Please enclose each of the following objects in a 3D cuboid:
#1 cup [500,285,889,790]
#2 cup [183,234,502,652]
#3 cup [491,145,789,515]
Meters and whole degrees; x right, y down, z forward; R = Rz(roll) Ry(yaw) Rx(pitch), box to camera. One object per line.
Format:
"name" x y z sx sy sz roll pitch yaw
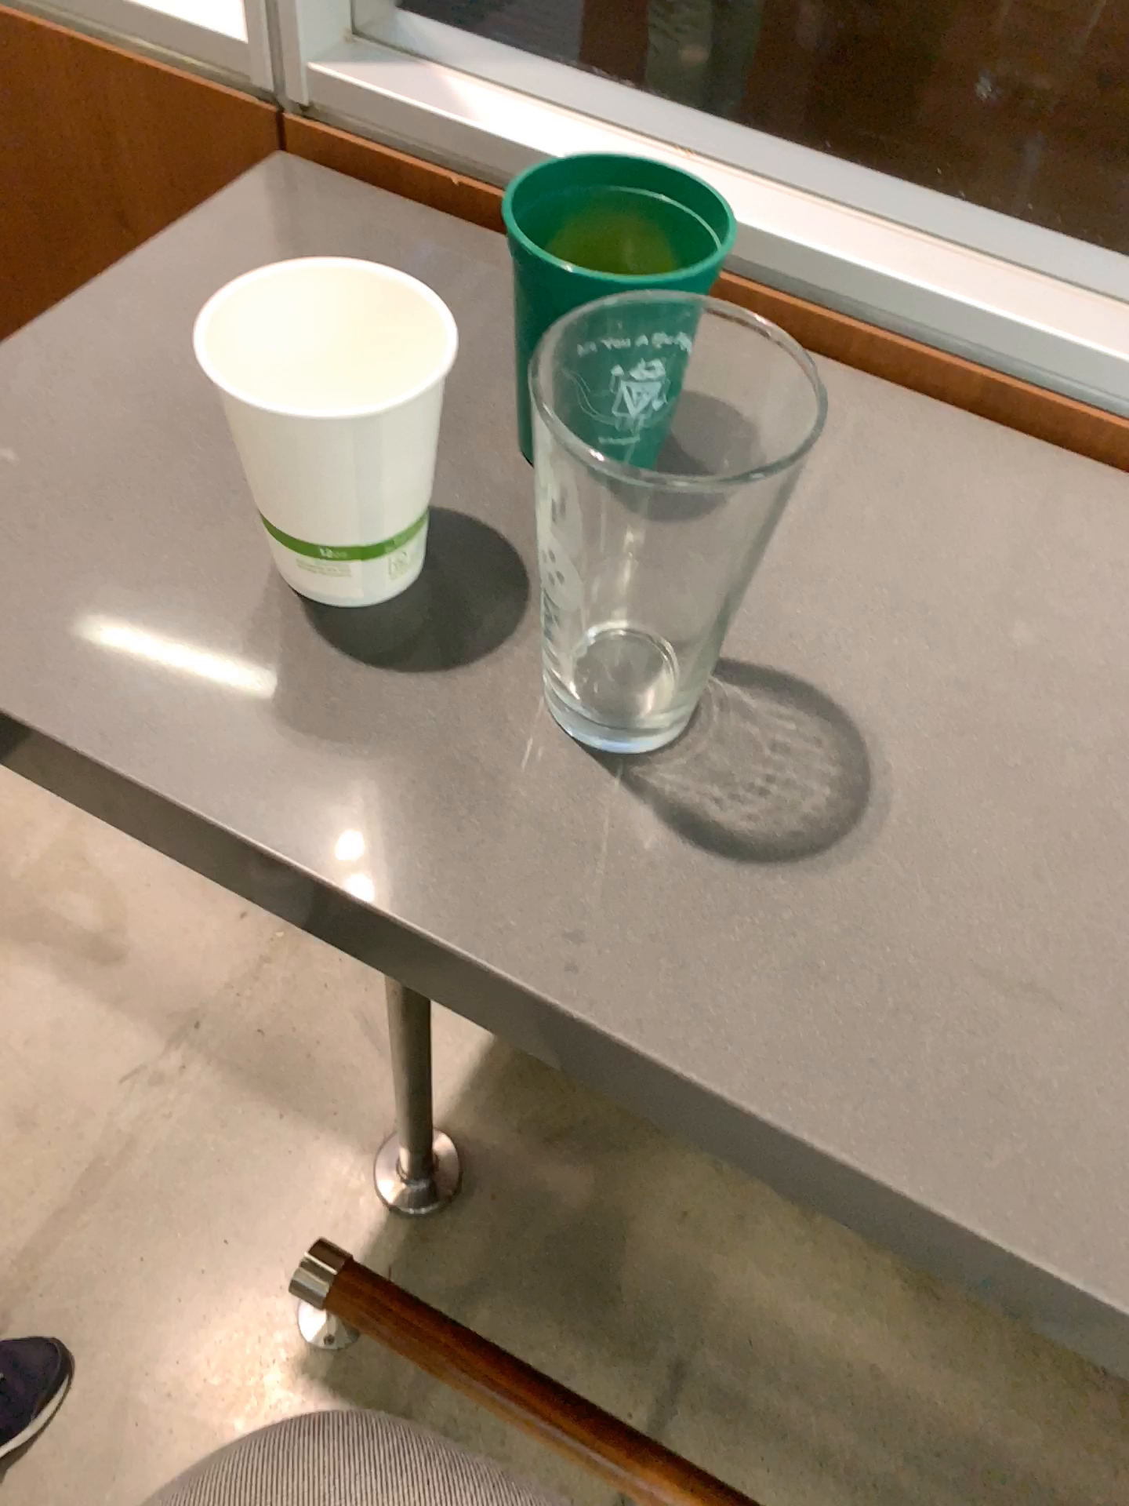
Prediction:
"cup" 0.031 -0.067 0.388 0.090 0.139 0.090 3 53 -4
"cup" -0.082 -0.115 0.436 0.090 0.110 0.090 3 53 -4
"cup" 0.024 -0.175 0.484 0.090 0.110 0.090 3 53 -4
